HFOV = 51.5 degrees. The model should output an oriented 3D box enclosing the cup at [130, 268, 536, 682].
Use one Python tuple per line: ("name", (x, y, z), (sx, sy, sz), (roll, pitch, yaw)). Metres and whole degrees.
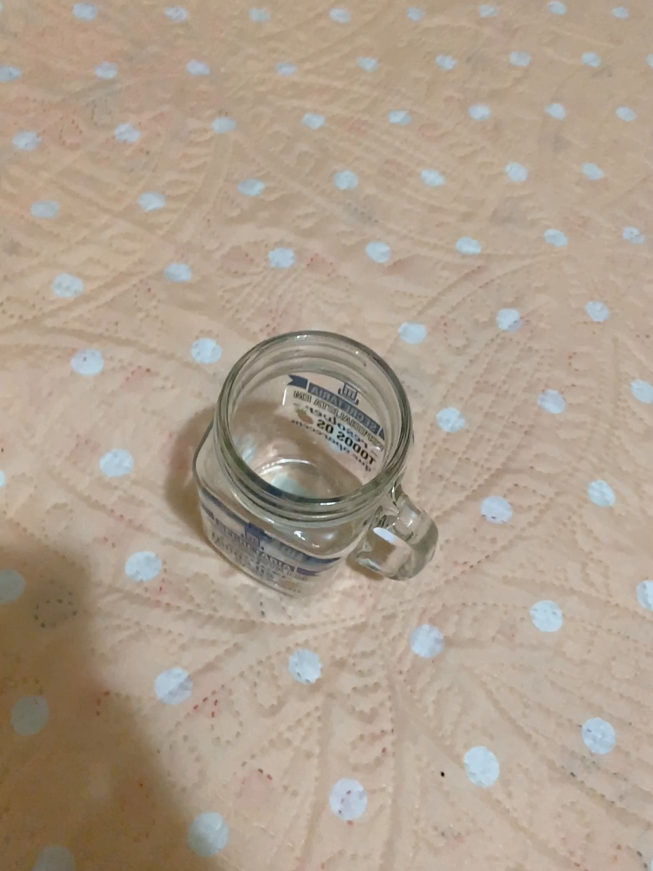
("cup", (-0.003, 0.024, 0.264), (0.100, 0.120, 0.080), (35, 64, 9))
